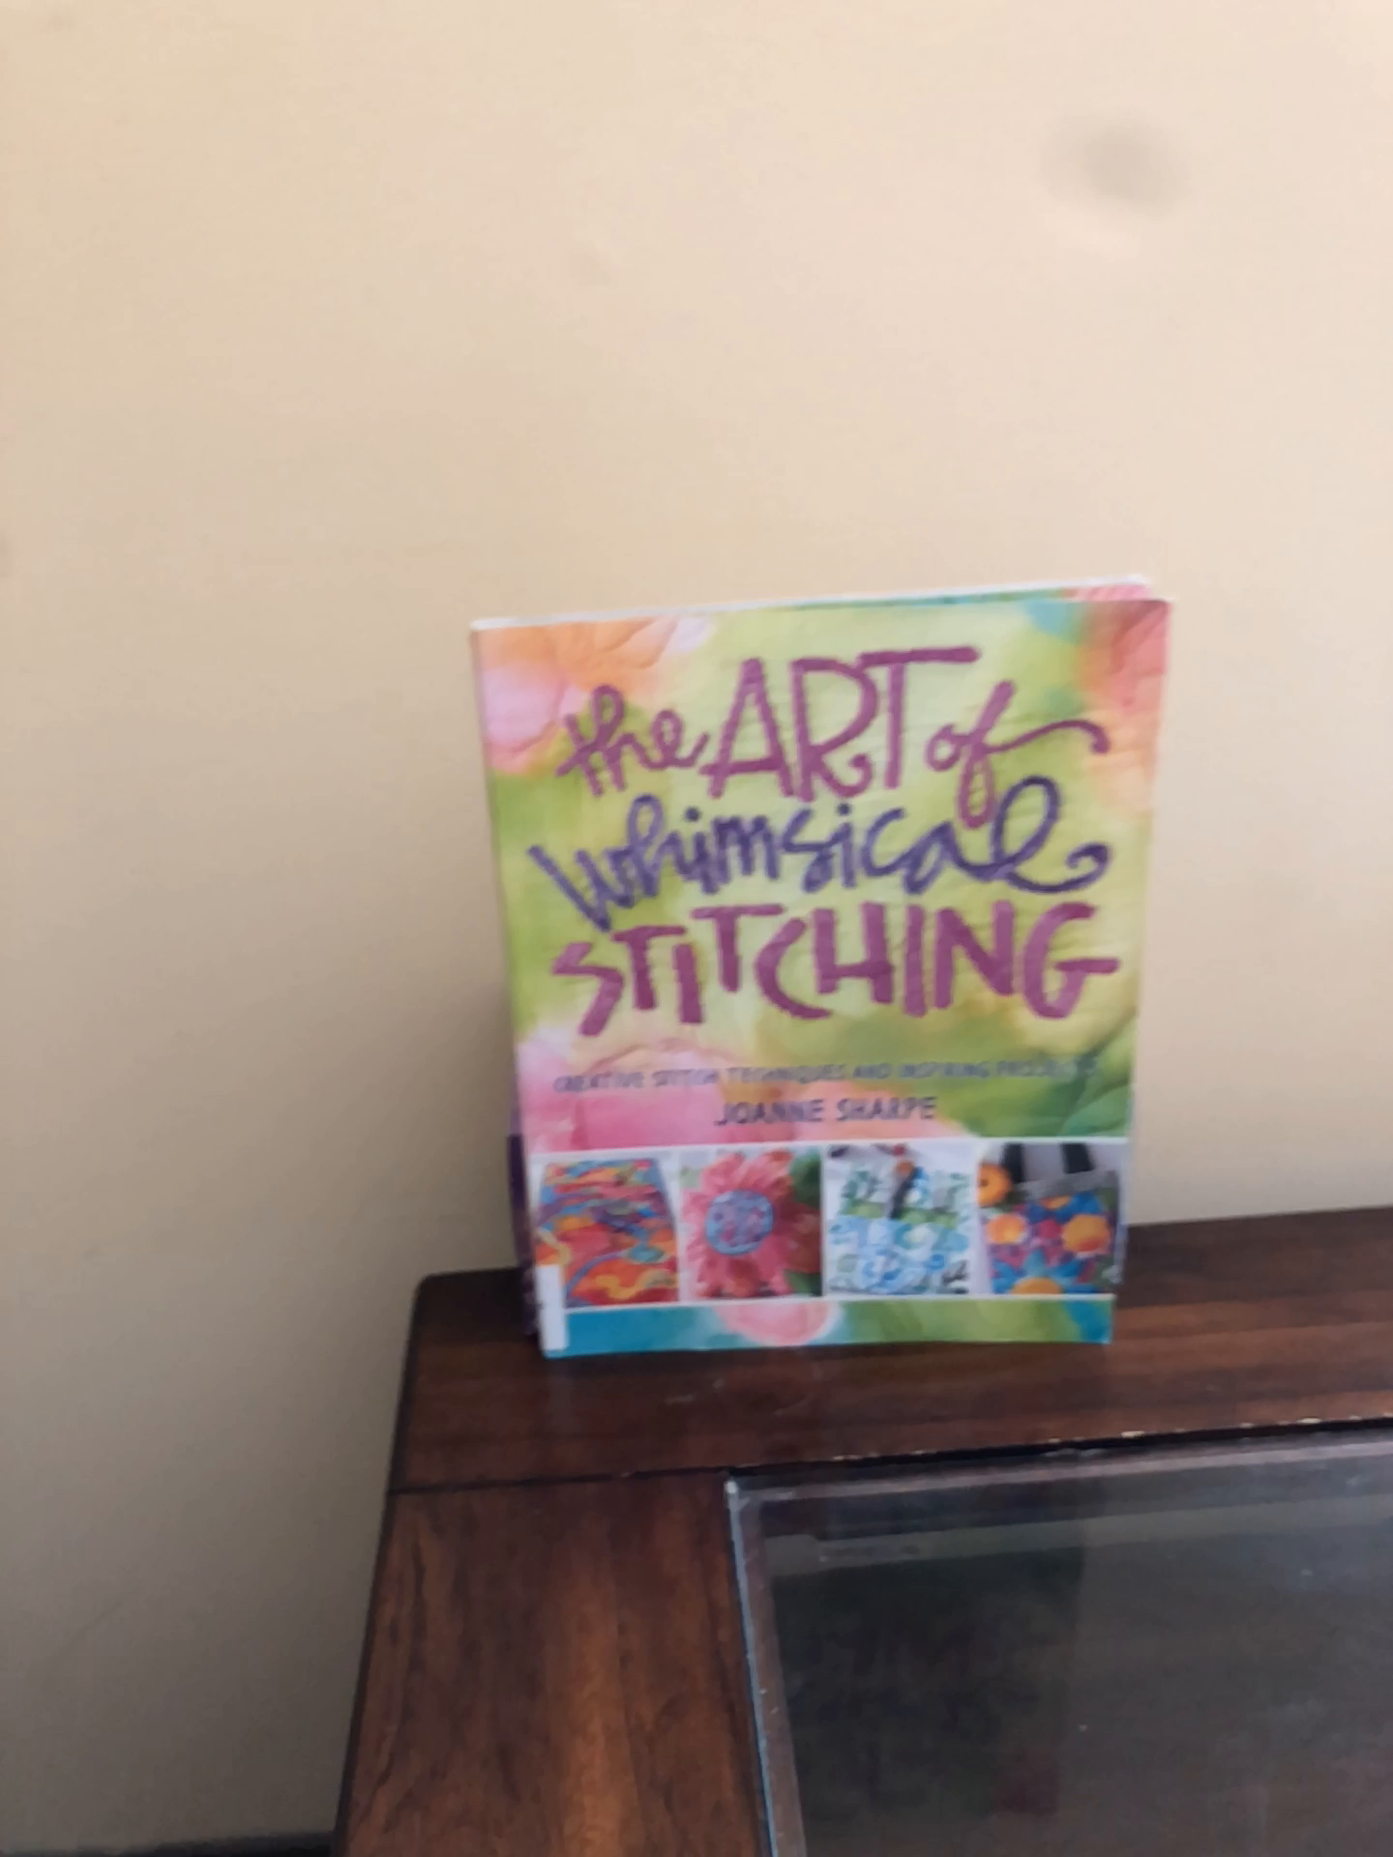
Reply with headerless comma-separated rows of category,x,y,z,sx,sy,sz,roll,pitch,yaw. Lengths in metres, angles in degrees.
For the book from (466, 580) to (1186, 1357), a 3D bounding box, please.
book,0.043,0.023,0.522,0.214,0.263,0.029,-2,21,1
